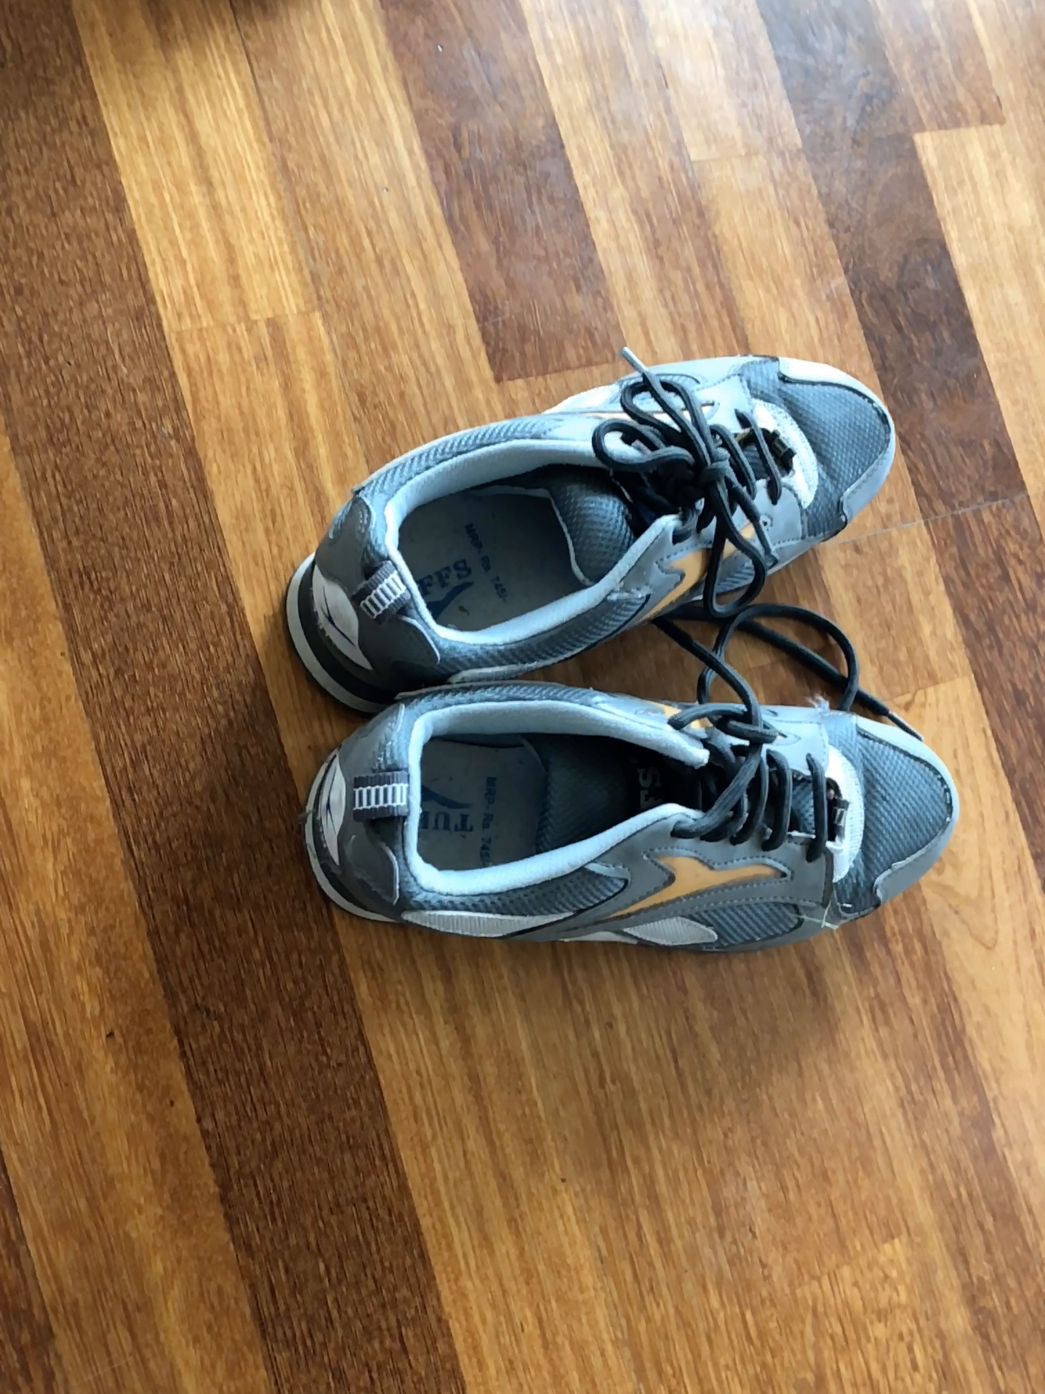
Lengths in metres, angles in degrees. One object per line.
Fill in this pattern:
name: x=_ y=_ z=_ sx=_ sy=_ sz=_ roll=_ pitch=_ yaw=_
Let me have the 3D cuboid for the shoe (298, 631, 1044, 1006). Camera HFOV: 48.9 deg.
shoe: x=0.067 y=0.043 z=0.421 sx=0.283 sy=0.088 sz=0.110 roll=0 pitch=79 yaw=-18

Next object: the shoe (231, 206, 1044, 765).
shoe: x=0.046 y=-0.083 z=0.445 sx=0.284 sy=0.099 sz=0.112 roll=-21 pitch=85 yaw=-19
